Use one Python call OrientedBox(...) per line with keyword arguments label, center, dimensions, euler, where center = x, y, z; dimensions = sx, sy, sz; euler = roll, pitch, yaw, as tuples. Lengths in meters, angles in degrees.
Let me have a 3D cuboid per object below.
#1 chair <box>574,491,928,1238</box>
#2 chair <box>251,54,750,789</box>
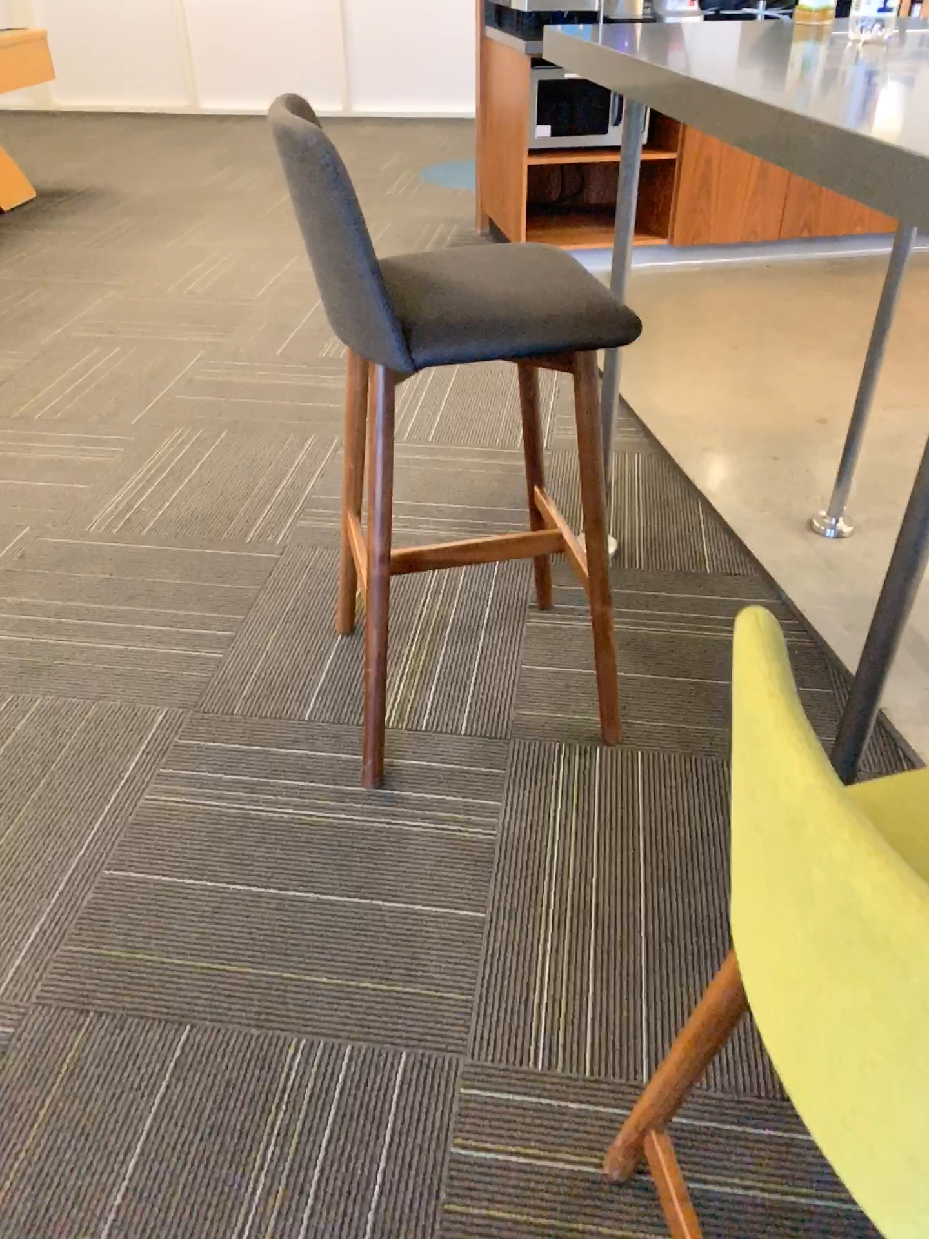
OrientedBox(label="chair", center=(0.400, 0.396, 0.717), dimensions=(0.480, 0.825, 0.443), euler=(-6, 36, -8))
OrientedBox(label="chair", center=(-0.002, -0.336, 1.582), dimensions=(0.540, 0.974, 0.644), euler=(-8, 37, -10))
